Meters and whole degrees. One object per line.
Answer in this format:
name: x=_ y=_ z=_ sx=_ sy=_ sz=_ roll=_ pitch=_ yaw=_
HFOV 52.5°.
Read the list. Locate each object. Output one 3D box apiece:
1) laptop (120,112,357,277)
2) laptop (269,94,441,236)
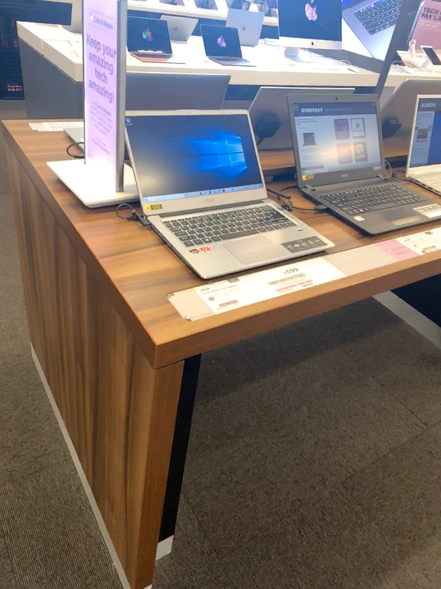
laptop: x=0.016 y=-0.227 z=0.891 sx=0.308 sy=0.153 sz=0.360 roll=-15 pitch=43 yaw=-32
laptop: x=0.395 y=-0.346 z=1.130 sx=0.372 sy=0.191 sz=0.357 roll=-17 pitch=44 yaw=-35
